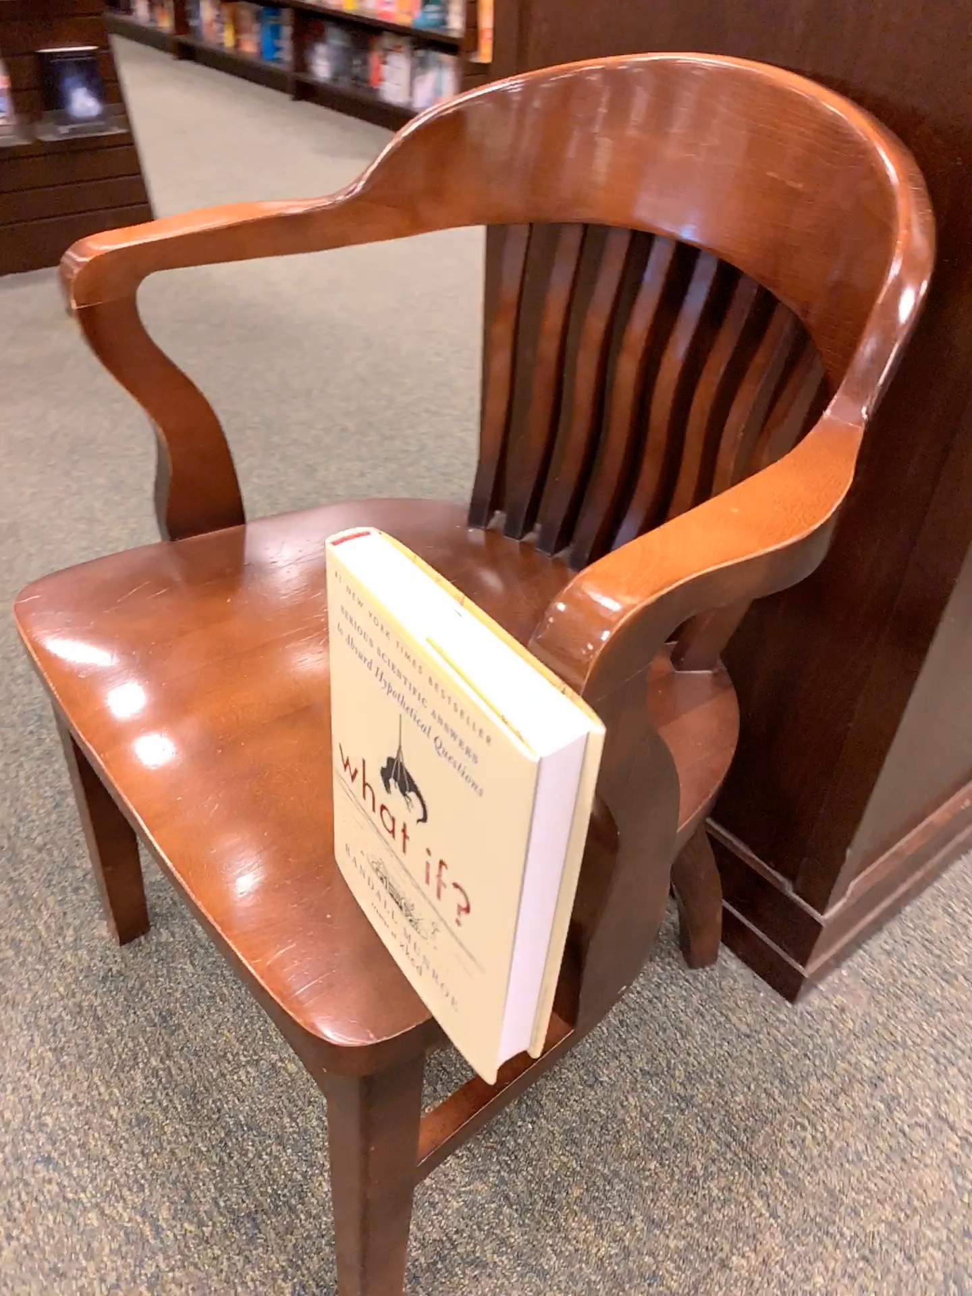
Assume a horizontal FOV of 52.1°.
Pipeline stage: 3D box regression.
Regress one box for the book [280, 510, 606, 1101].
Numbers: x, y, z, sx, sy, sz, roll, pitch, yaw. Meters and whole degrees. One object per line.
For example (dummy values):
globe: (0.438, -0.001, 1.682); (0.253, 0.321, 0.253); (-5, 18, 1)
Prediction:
book: (-0.035, 0.081, 0.513); (0.050, 0.239, 0.188); (-20, 44, -30)
